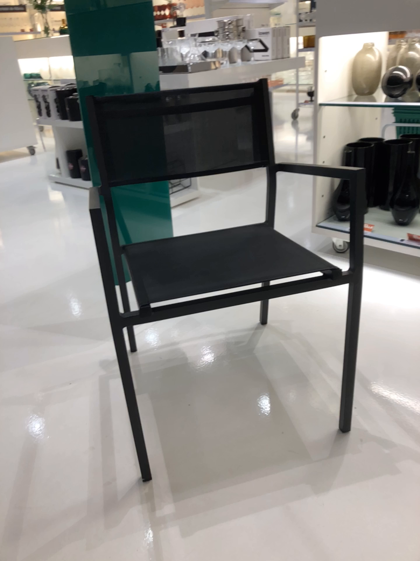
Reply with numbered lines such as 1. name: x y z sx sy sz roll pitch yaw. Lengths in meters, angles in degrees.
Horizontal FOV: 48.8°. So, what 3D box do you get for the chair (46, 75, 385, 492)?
1. chair: -0.015 -0.058 1.186 0.570 0.794 0.604 -10 27 -11
